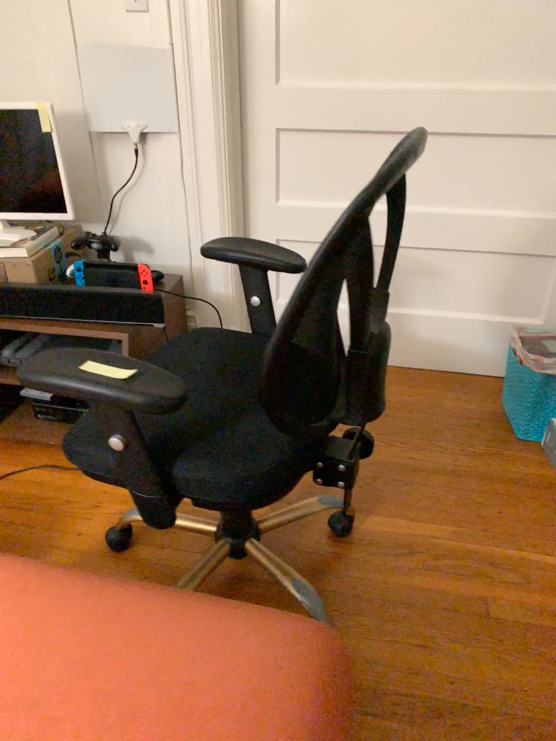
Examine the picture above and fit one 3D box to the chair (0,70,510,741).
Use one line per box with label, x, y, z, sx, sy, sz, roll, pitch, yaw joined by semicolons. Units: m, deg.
chair;-0.053;0.020;1.096;0.661;0.974;0.643;16;34;17
